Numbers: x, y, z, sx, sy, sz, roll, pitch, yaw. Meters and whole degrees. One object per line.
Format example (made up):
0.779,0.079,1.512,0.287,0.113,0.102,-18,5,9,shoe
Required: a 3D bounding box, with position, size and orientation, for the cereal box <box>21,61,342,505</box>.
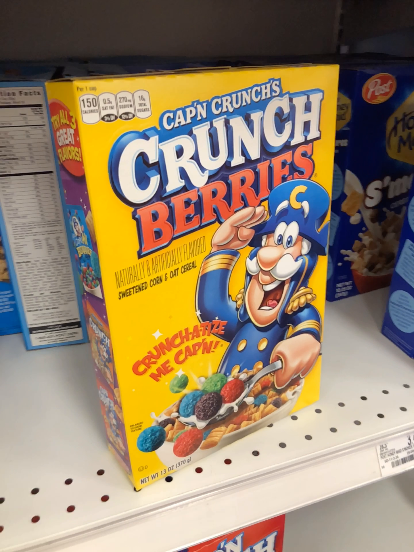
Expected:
-0.001,0.001,0.350,0.200,0.289,0.060,-16,26,-27,cereal box
